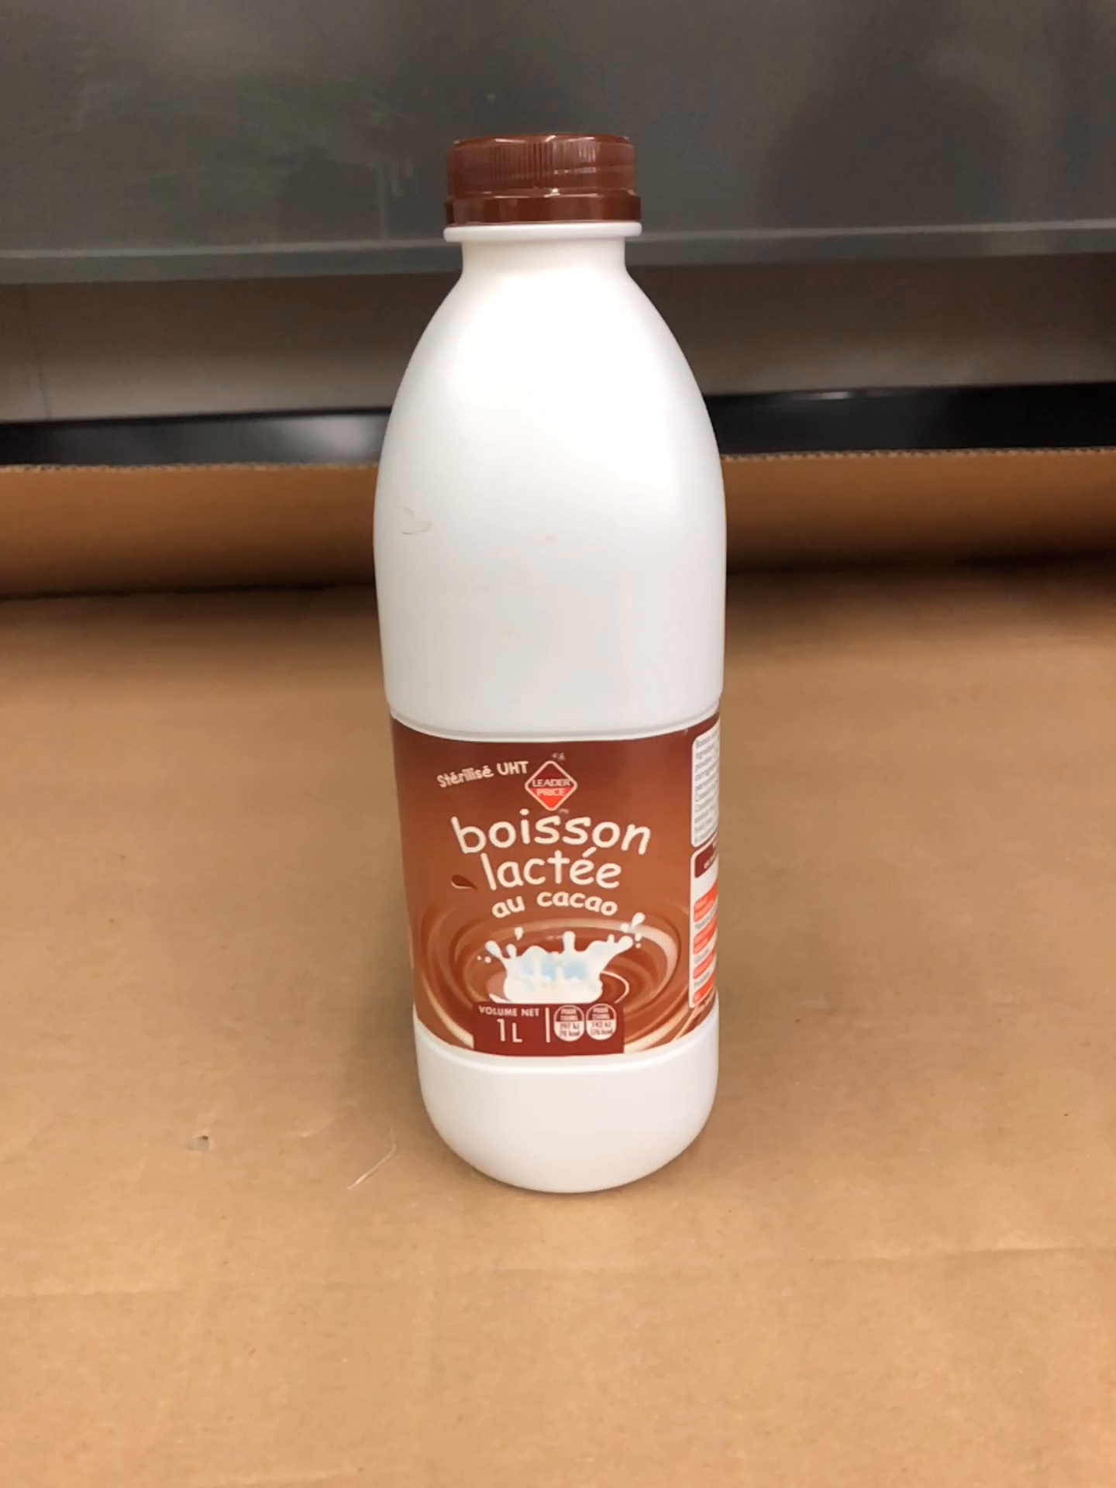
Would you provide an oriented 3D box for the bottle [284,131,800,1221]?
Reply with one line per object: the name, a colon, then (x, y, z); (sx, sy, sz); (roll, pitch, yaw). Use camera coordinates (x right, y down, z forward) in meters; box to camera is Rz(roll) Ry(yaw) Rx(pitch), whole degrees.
bottle: (-0.001, -0.011, 0.297); (0.090, 0.239, 0.080); (-3, 22, -2)
